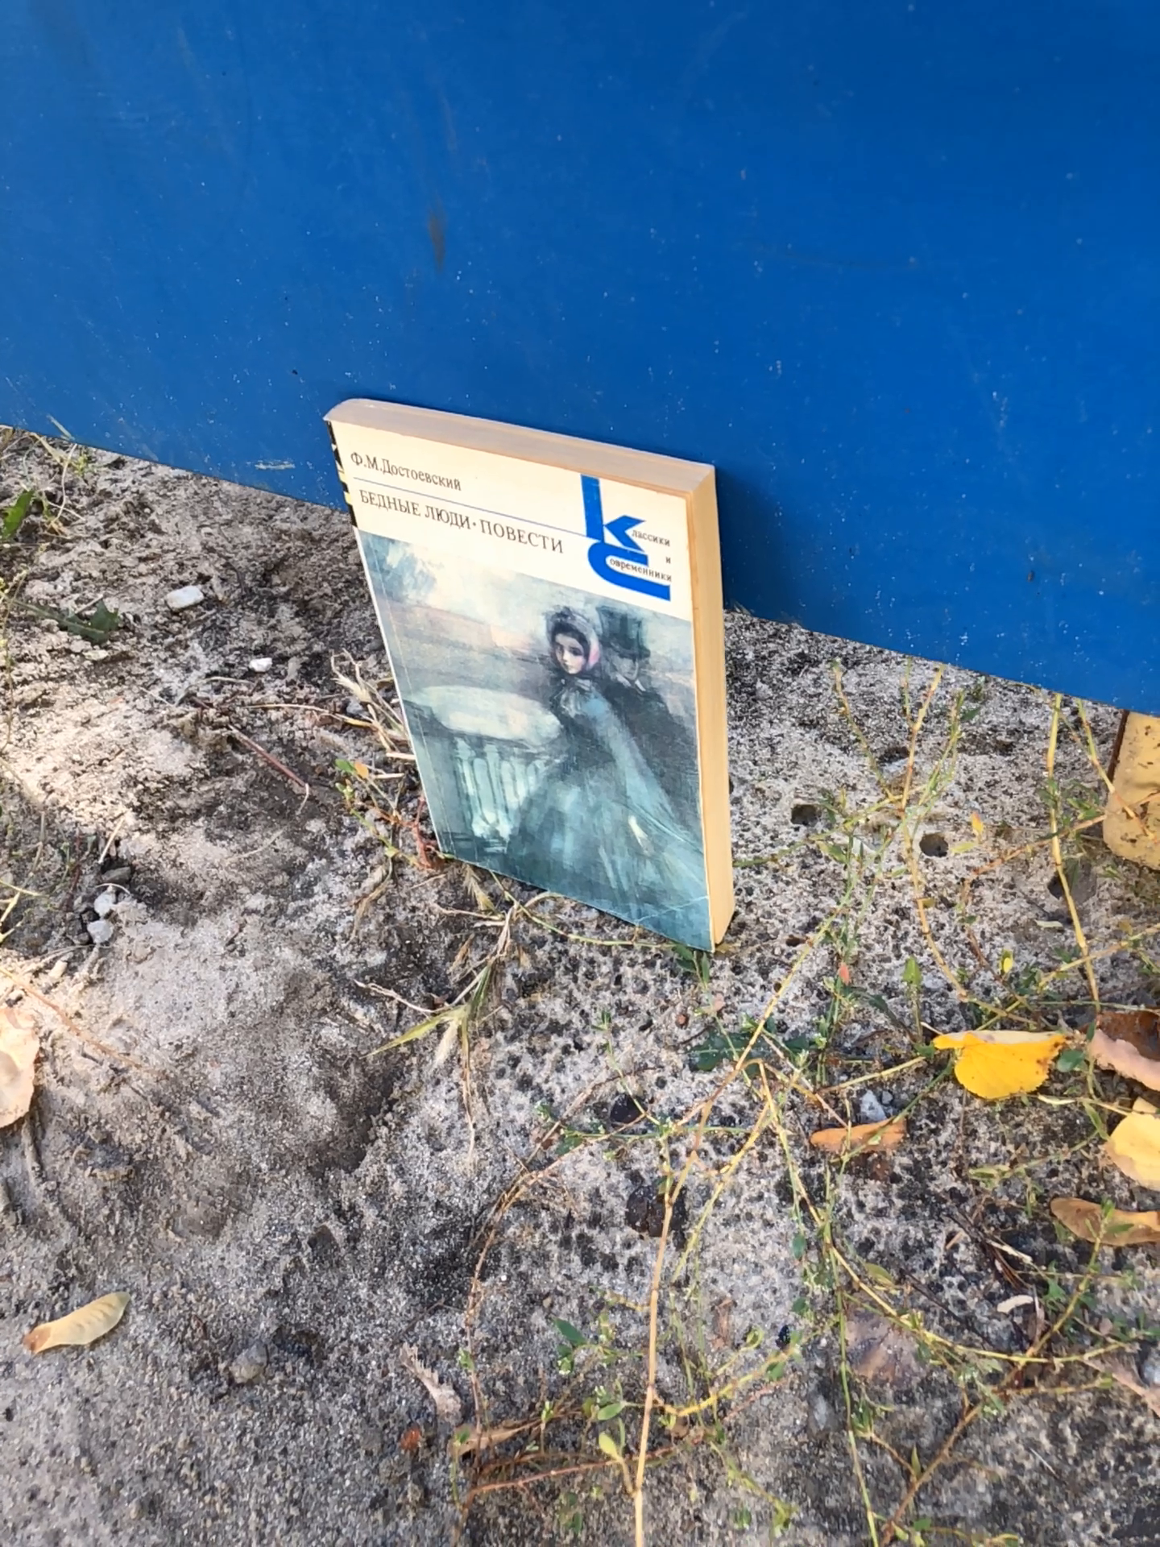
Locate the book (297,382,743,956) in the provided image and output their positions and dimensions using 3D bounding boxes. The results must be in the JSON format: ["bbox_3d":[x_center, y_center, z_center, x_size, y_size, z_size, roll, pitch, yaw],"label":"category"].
[{"bbox_3d":[-0.012,-0.028,0.422,0.127,0.187,0.026,18,50,25],"label":"book"}]
